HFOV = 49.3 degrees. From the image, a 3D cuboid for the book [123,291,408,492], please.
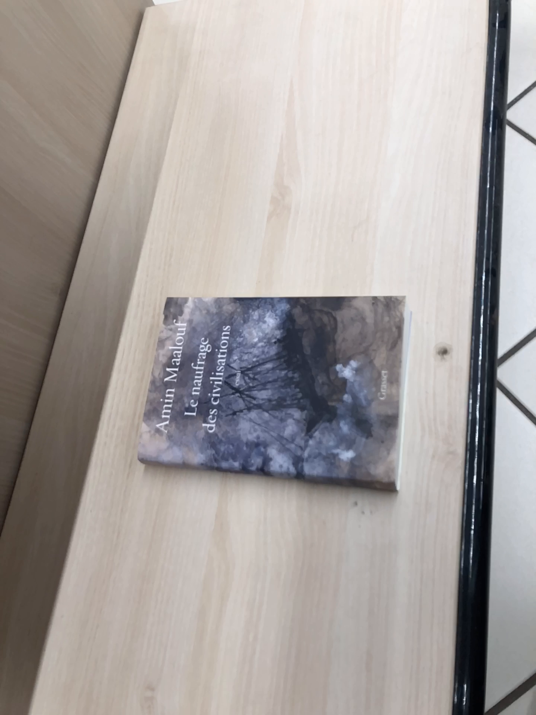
[{"bbox_3d":[-0.001,0.021,0.465,0.211,0.026,0.147,2,71,18],"label":"book"}]
